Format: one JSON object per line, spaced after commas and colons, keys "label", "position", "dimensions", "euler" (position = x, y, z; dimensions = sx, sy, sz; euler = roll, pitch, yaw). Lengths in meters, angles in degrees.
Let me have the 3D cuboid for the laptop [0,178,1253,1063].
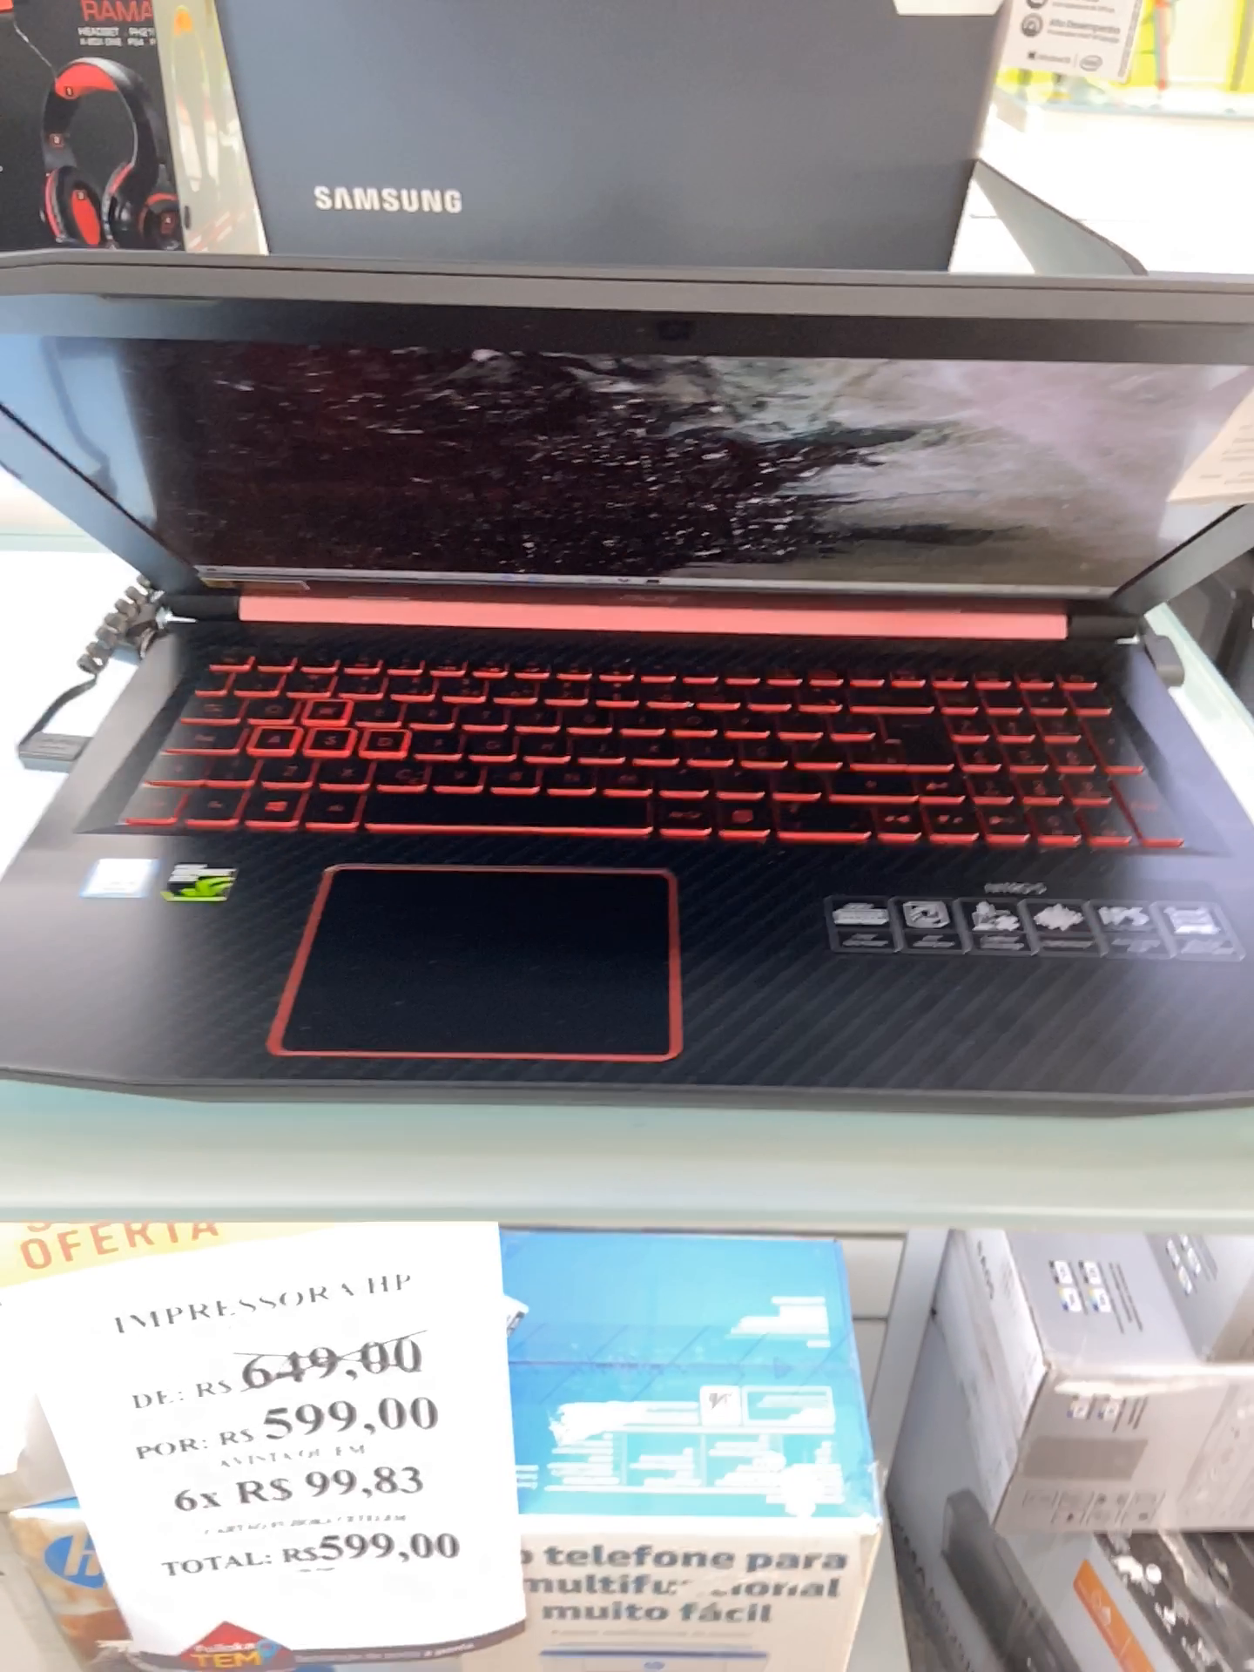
{"label": "laptop", "position": [0.008, -0.080, 0.379], "dimensions": [0.380, 0.163, 0.235], "euler": [1, 36, 0]}
